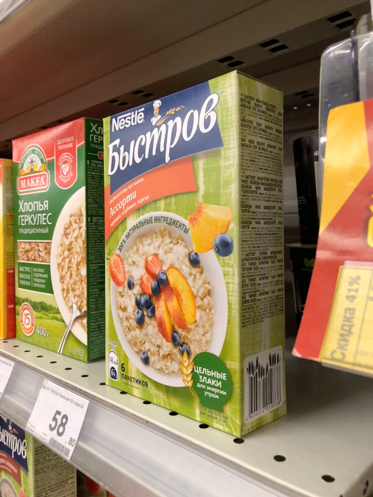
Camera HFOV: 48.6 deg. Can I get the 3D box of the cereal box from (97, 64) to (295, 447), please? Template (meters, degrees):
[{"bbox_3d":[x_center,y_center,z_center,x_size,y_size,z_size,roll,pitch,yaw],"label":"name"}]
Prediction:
[{"bbox_3d":[0.000,0.003,0.279,0.130,0.200,0.050,0,1,45],"label":"cereal box"}]
